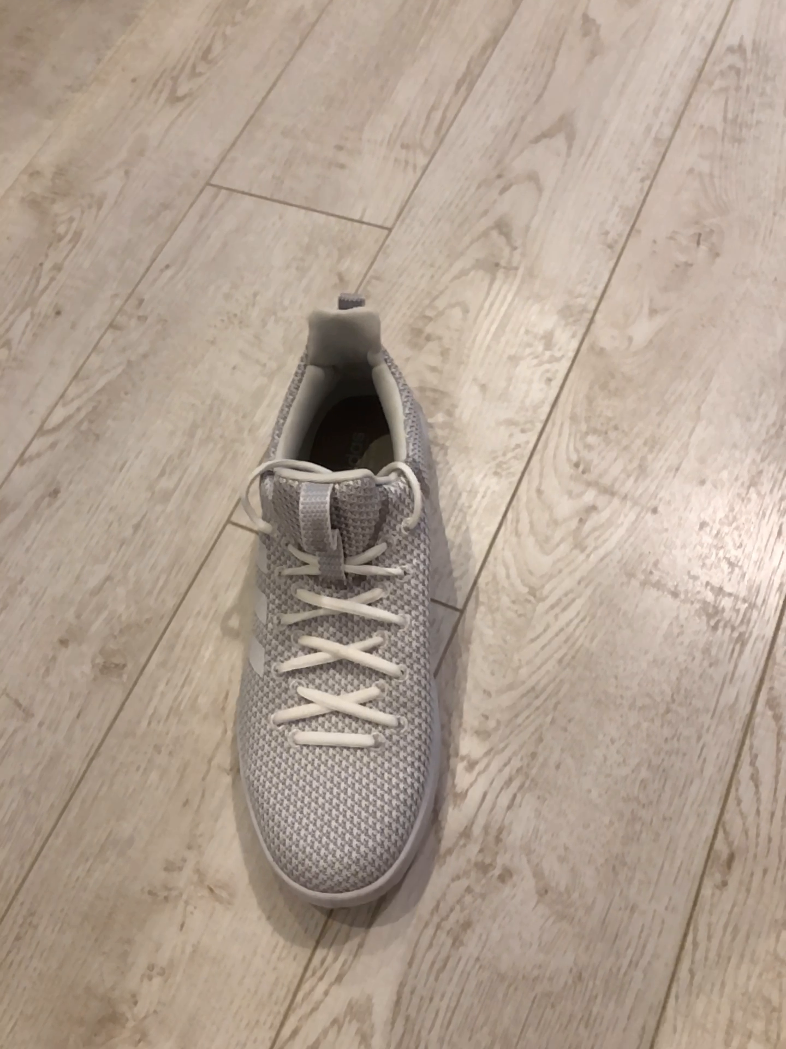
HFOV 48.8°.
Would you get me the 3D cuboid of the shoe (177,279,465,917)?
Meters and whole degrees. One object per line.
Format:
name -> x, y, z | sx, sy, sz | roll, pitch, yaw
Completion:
shoe -> -0.019, 0.033, 0.432 | 0.100, 0.110, 0.291 | -2, 65, 9
